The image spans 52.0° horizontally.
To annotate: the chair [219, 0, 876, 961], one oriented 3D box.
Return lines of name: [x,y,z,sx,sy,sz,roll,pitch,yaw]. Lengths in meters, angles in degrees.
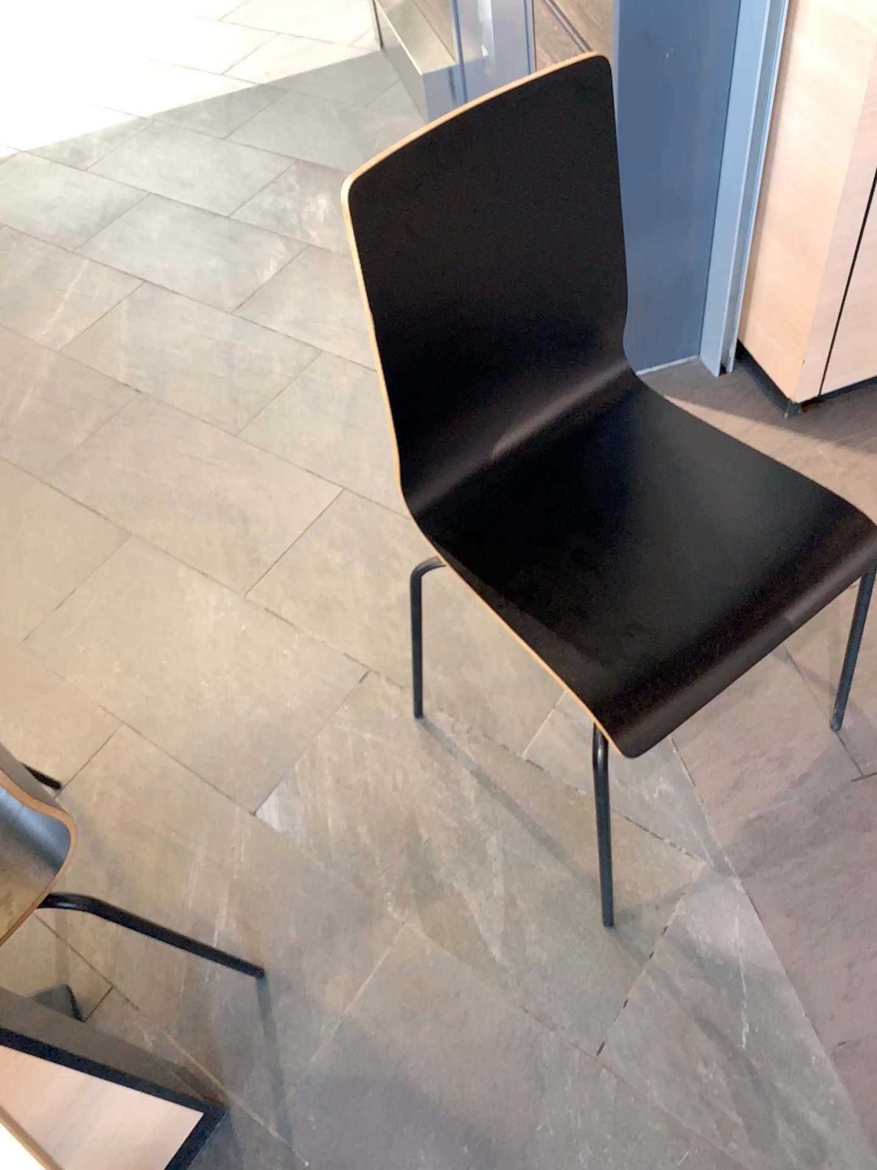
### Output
chair: [0.227,-0.057,1.037,0.520,0.837,0.522,-34,56,-15]
